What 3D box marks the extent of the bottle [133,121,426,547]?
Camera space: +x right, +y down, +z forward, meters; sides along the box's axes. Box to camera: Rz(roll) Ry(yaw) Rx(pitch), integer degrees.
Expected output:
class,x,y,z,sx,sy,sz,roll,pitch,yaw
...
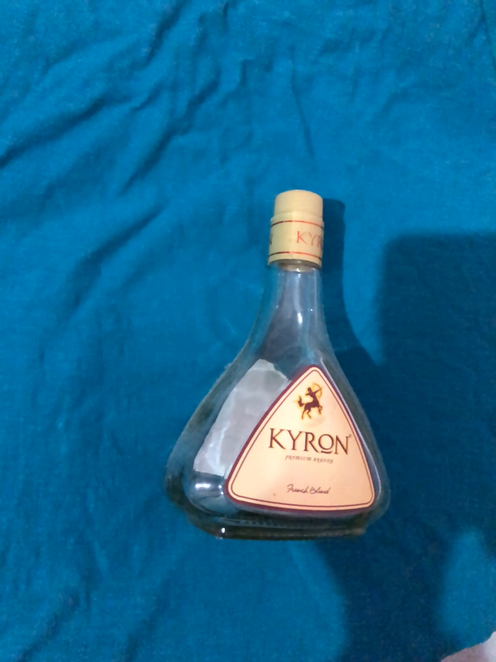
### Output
class,x,y,z,sx,sy,sz,roll,pitch,yaw
bottle,0.017,0.006,0.281,0.120,0.060,0.180,7,84,-22
